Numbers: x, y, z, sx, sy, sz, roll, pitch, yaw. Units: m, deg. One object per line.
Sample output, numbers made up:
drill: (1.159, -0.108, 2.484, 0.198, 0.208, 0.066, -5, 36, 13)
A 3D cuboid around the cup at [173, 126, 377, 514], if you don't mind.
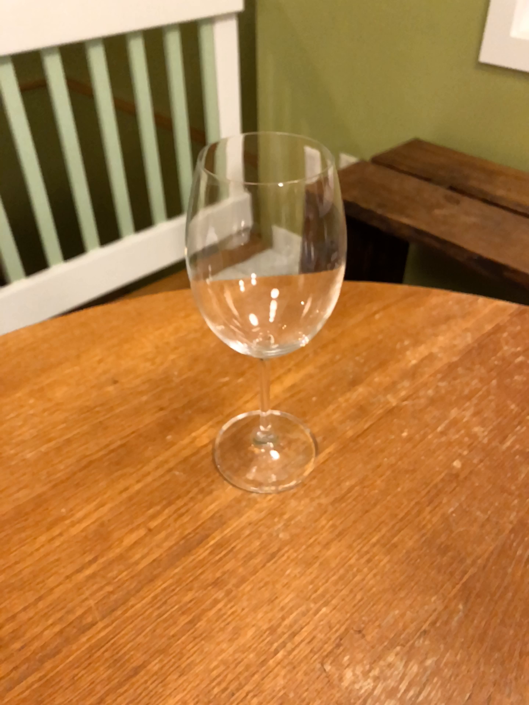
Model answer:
cup: (0.003, -0.011, 0.394, 0.097, 0.240, 0.101, 0, 39, 0)
